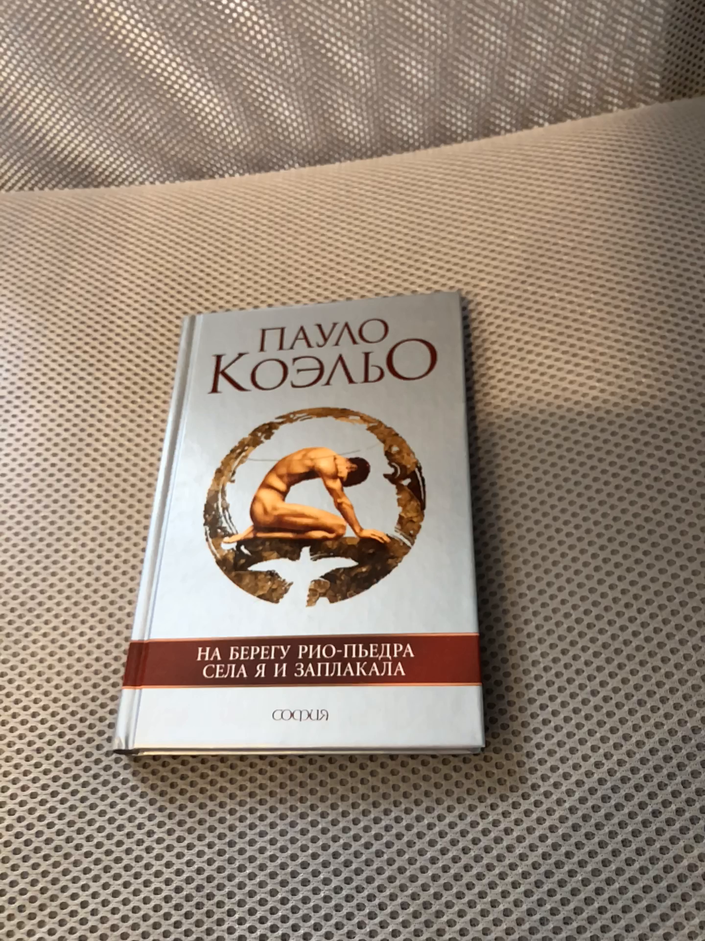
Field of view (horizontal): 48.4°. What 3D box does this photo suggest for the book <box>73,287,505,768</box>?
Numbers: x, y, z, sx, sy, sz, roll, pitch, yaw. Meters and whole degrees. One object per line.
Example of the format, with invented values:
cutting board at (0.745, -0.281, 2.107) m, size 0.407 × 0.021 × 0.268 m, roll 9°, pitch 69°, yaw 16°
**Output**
book at (-0.018, 0.013, 0.282) m, size 0.131 × 0.020 × 0.174 m, roll -3°, pitch 61°, yaw 8°
